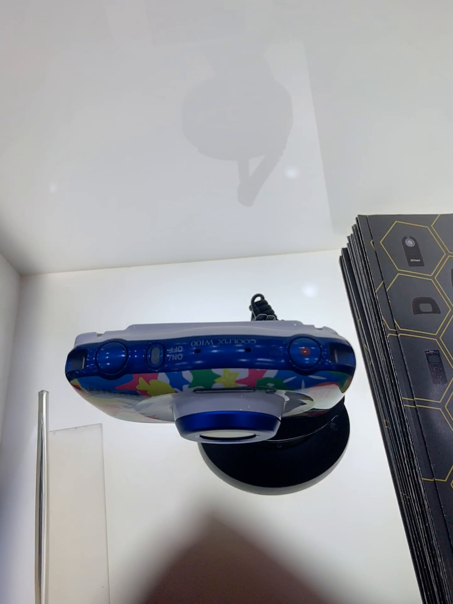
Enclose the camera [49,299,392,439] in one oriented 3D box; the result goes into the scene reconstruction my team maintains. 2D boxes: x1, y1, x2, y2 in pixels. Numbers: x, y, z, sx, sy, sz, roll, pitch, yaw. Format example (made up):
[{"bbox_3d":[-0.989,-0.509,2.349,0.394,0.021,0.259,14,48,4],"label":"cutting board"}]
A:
[{"bbox_3d":[-0.002,0.031,0.200,0.120,0.060,0.040,-2,64,2],"label":"camera"}]
